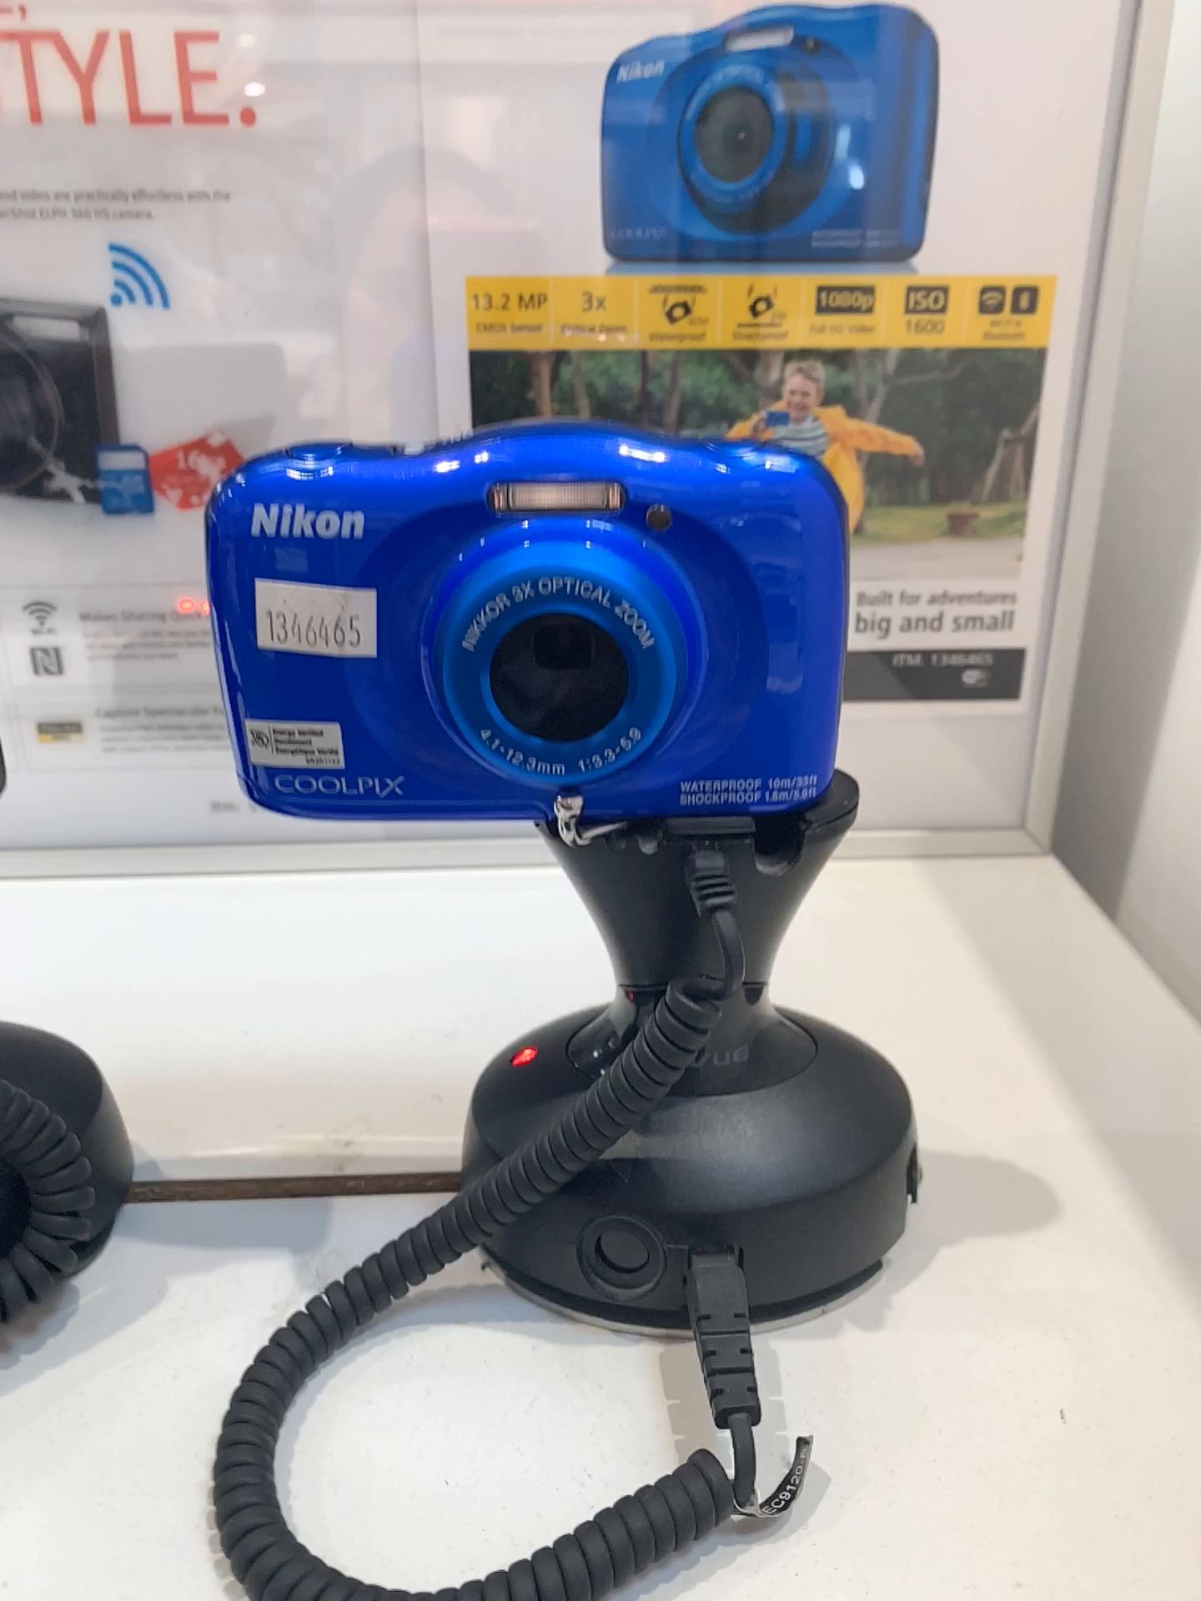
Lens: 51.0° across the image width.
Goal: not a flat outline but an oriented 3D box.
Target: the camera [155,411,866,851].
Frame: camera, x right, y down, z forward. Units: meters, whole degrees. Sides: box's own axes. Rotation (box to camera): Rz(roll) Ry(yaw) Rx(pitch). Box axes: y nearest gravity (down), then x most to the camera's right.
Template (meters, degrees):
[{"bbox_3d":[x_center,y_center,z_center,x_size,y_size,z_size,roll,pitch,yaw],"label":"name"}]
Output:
[{"bbox_3d":[-0.013,-0.030,0.211,0.101,0.063,0.046,0,22,-1],"label":"camera"}]
